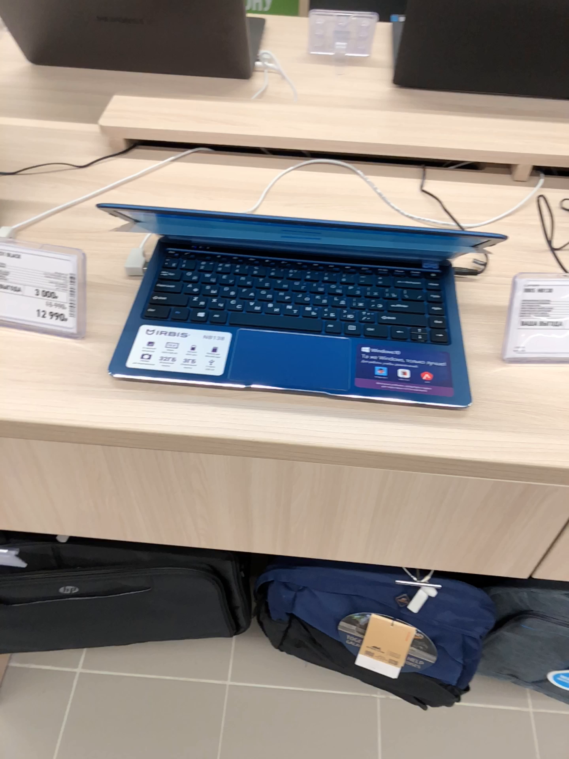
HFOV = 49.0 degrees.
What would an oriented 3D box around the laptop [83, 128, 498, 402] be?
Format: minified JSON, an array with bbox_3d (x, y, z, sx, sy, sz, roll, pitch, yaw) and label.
[{"bbox_3d":[0.010,-0.109,0.568,0.308,0.124,0.190,5,49,3],"label":"laptop"}]

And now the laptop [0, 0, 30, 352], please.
[{"bbox_3d":[-0.480,-0.209,0.601,0.293,0.165,0.324,6,48,3],"label":"laptop"}]
